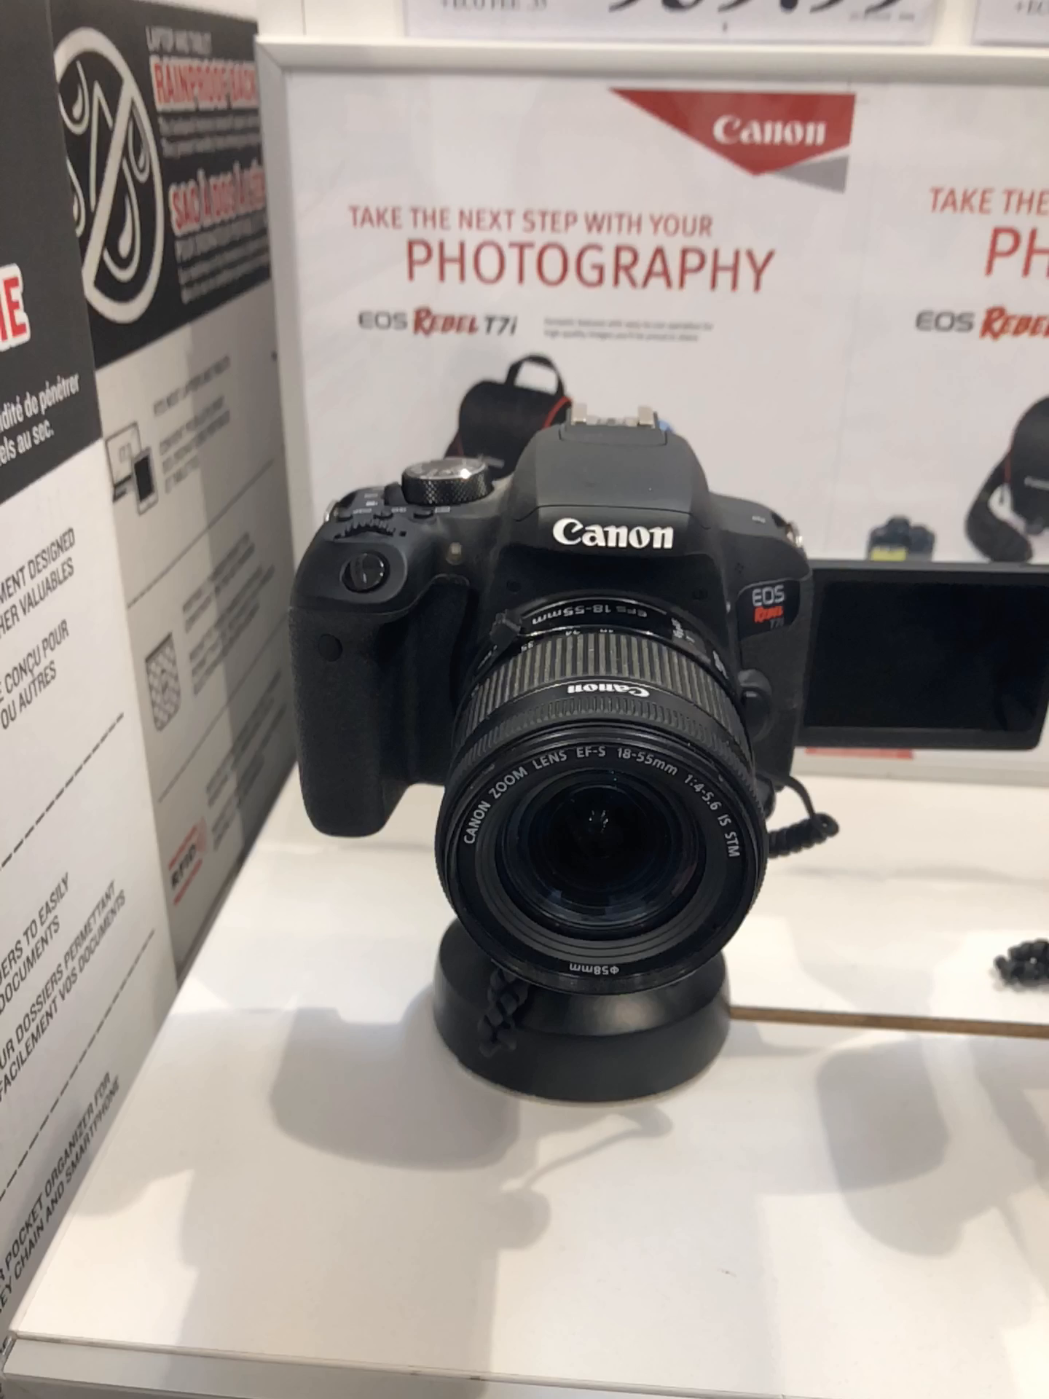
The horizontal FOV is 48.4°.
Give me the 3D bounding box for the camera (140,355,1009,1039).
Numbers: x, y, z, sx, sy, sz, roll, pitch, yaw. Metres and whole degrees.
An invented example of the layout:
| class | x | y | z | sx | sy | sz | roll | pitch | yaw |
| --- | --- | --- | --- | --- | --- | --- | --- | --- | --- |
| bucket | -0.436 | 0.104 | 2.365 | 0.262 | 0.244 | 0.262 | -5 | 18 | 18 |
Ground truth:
| class | x | y | z | sx | sy | sz | roll | pitch | yaw |
| --- | --- | --- | --- | --- | --- | --- | --- | --- | --- |
| camera | 0.010 | -0.015 | 0.277 | 0.140 | 0.099 | 0.151 | 2 | 27 | 2 |
